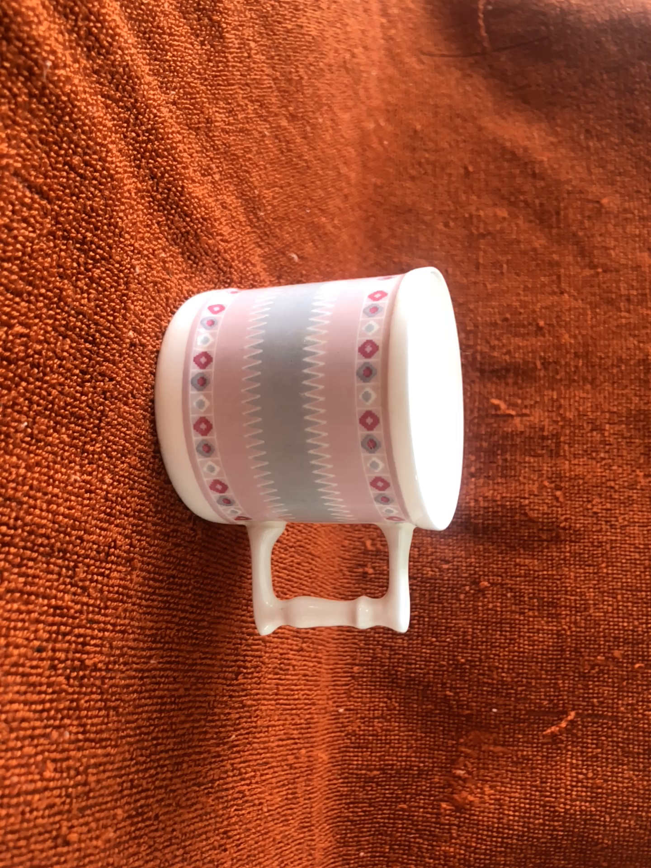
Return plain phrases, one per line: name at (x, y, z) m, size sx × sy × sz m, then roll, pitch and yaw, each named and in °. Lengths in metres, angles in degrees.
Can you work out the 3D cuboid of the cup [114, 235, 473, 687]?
cup at (-0.003, 0.007, 0.185) m, size 0.060 × 0.070 × 0.090 m, roll 17°, pitch 74°, yaw -69°
